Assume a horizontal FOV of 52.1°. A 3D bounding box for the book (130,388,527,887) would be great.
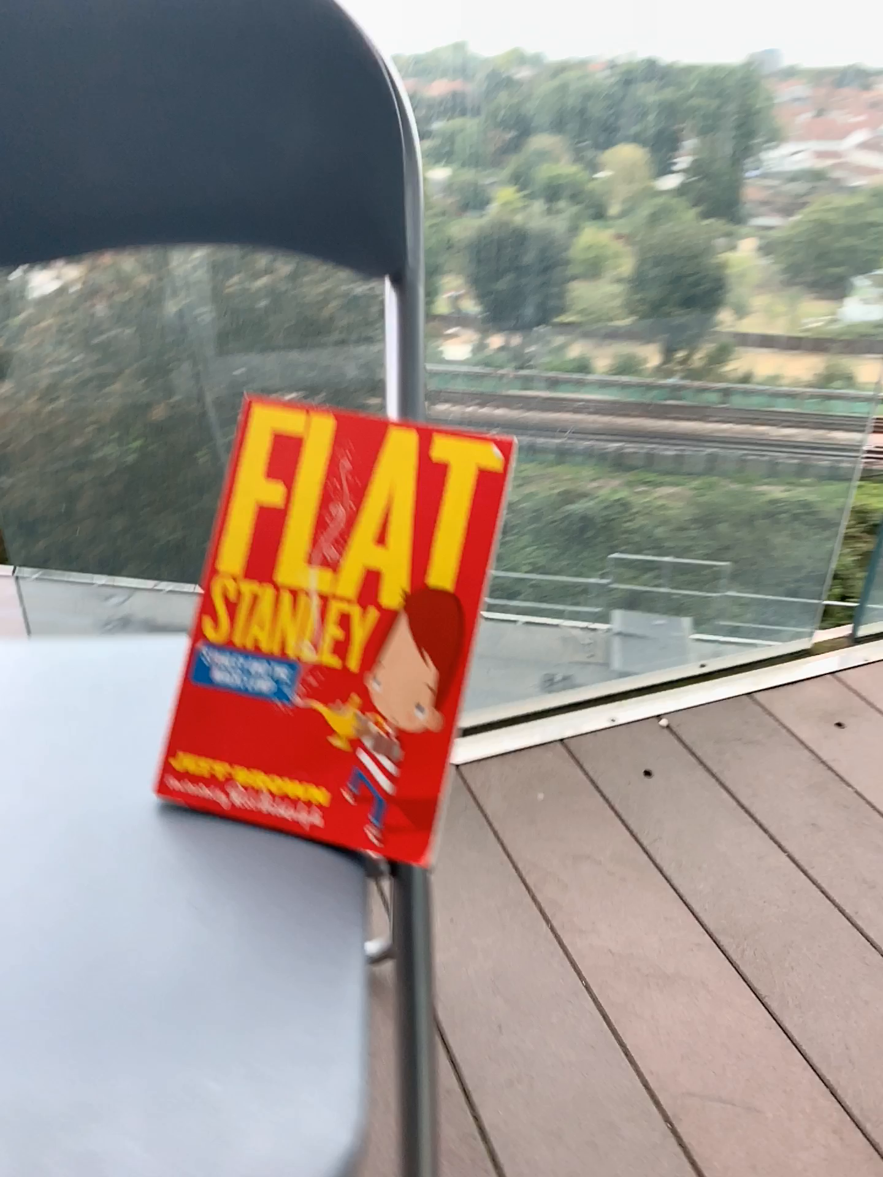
[{"bbox_3d":[-0.051,0.015,0.397,0.140,0.190,0.020,10,-4,16],"label":"book"}]
